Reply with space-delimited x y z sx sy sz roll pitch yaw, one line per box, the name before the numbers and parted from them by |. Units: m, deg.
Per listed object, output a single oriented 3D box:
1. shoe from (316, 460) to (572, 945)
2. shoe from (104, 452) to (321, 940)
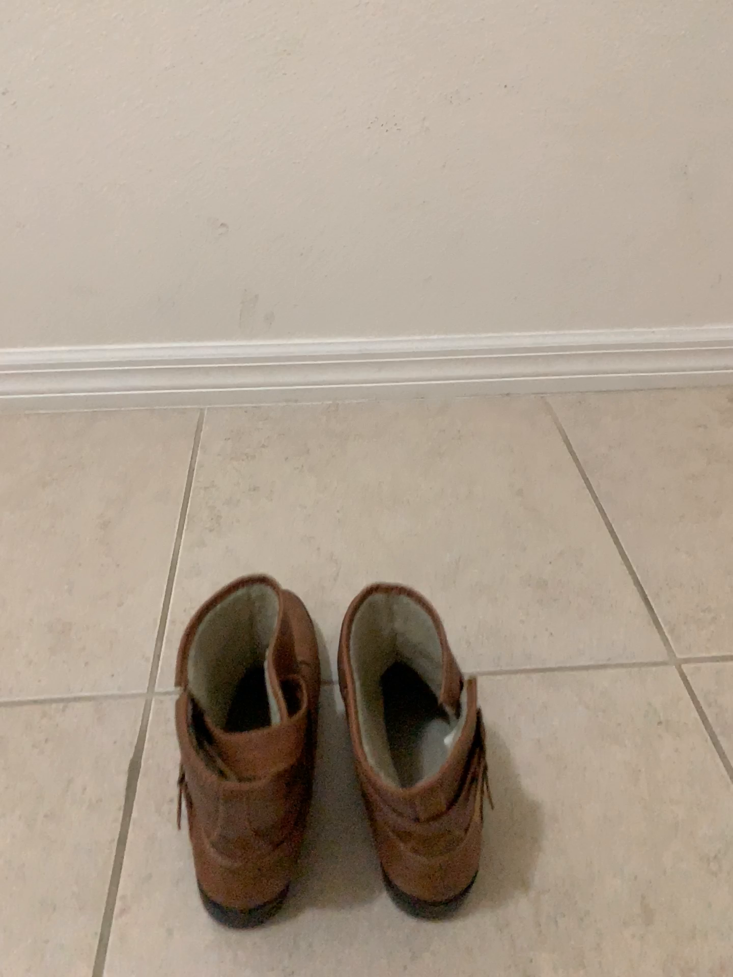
shoe | 0.031 0.130 0.517 0.107 0.172 0.262 -4 38 -6
shoe | -0.082 0.127 0.506 0.094 0.192 0.248 -2 38 -3
